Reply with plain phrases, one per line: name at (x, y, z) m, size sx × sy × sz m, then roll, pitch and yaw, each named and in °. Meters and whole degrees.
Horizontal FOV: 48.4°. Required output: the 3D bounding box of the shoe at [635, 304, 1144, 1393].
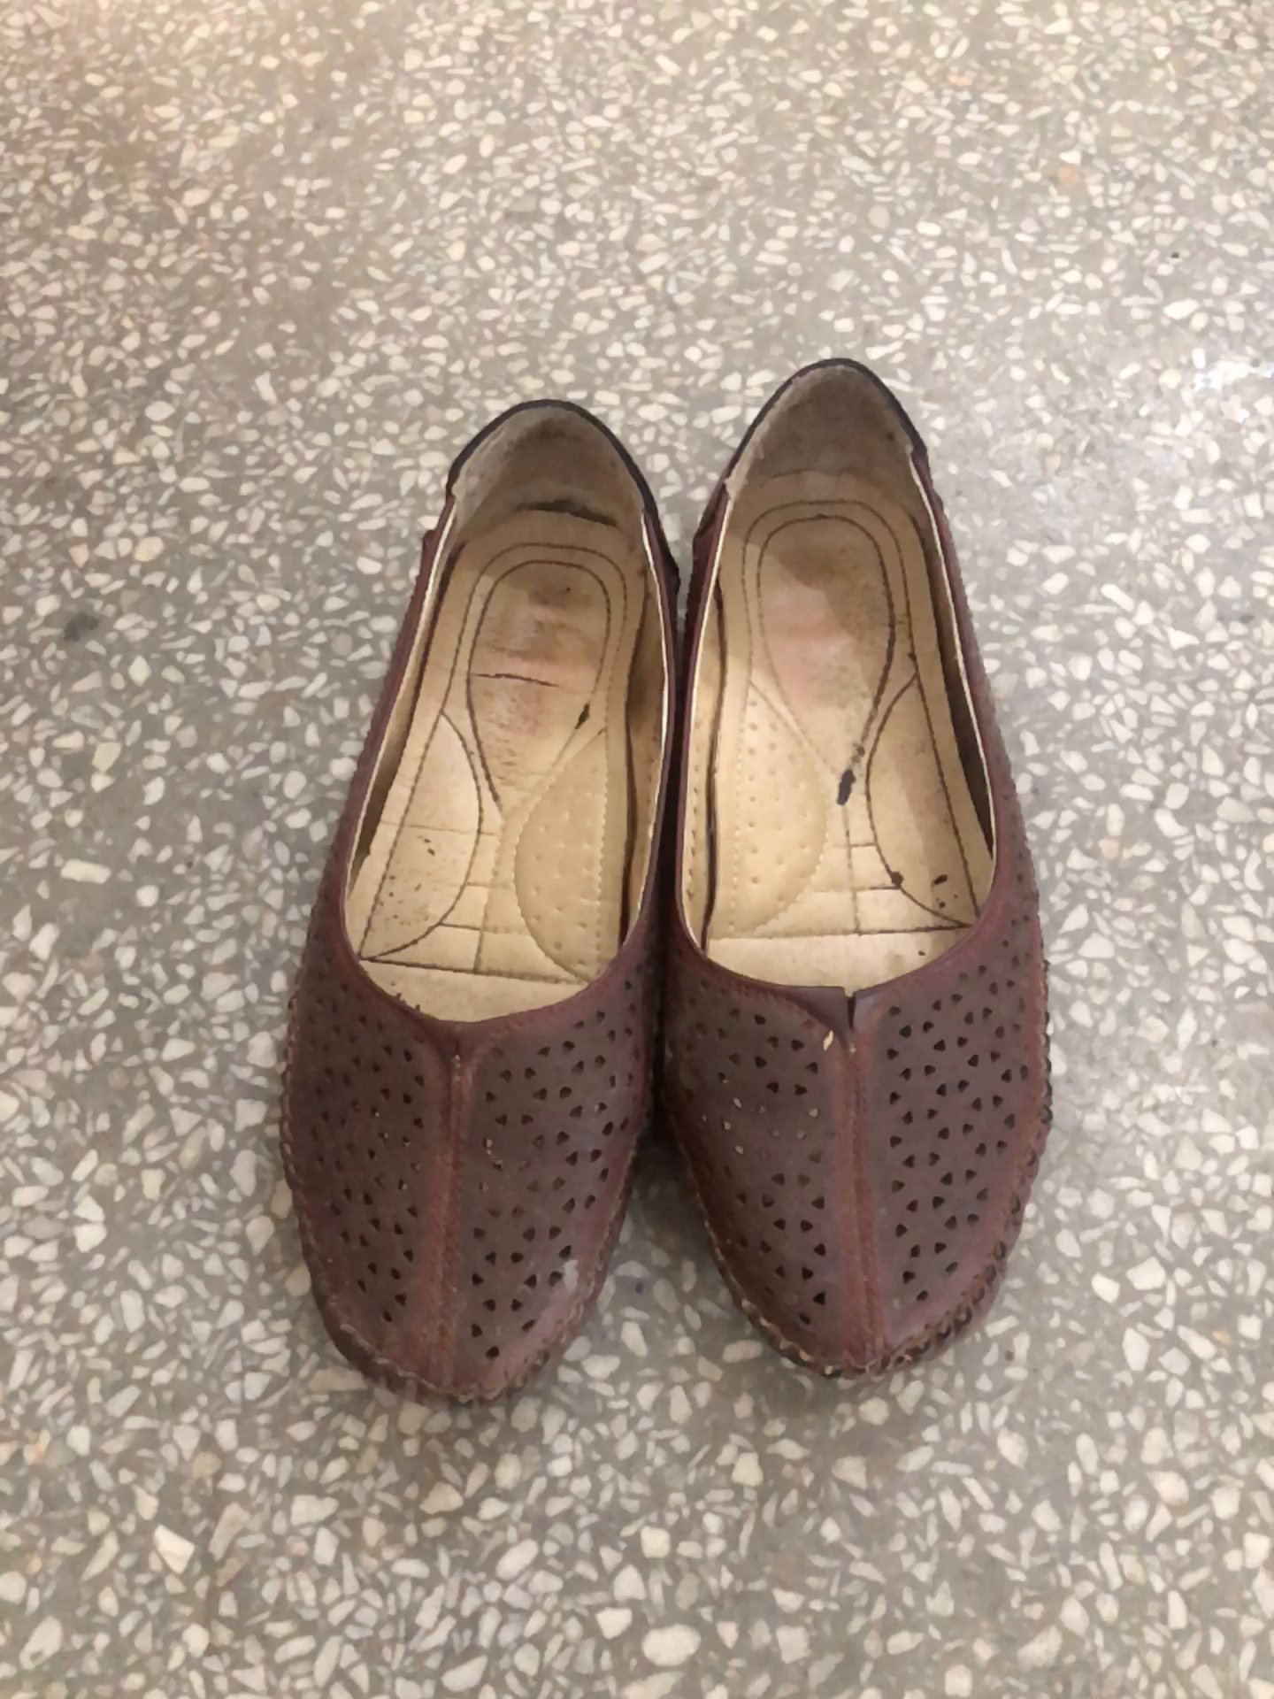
shoe at (0.047, -0.007, 0.334) m, size 0.090 × 0.060 × 0.250 m, roll -2°, pitch 68°, yaw 2°

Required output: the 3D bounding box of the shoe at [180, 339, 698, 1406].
shoe at (-0.035, -0.003, 0.342) m, size 0.090 × 0.060 × 0.250 m, roll 2°, pitch 68°, yaw 4°
